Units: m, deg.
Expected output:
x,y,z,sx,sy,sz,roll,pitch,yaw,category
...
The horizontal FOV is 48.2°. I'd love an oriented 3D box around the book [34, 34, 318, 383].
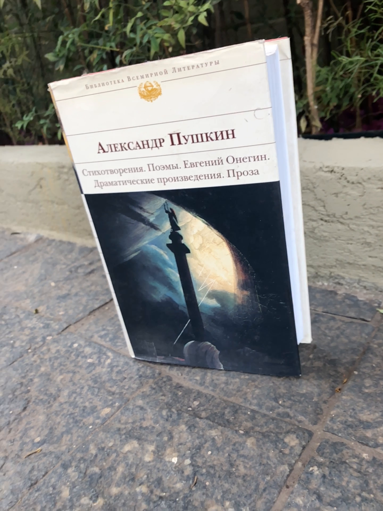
x,y,z,sx,sy,sz,roll,pitch,yaw,category
0.001,-0.021,0.286,0.150,0.204,0.050,1,26,22,book
